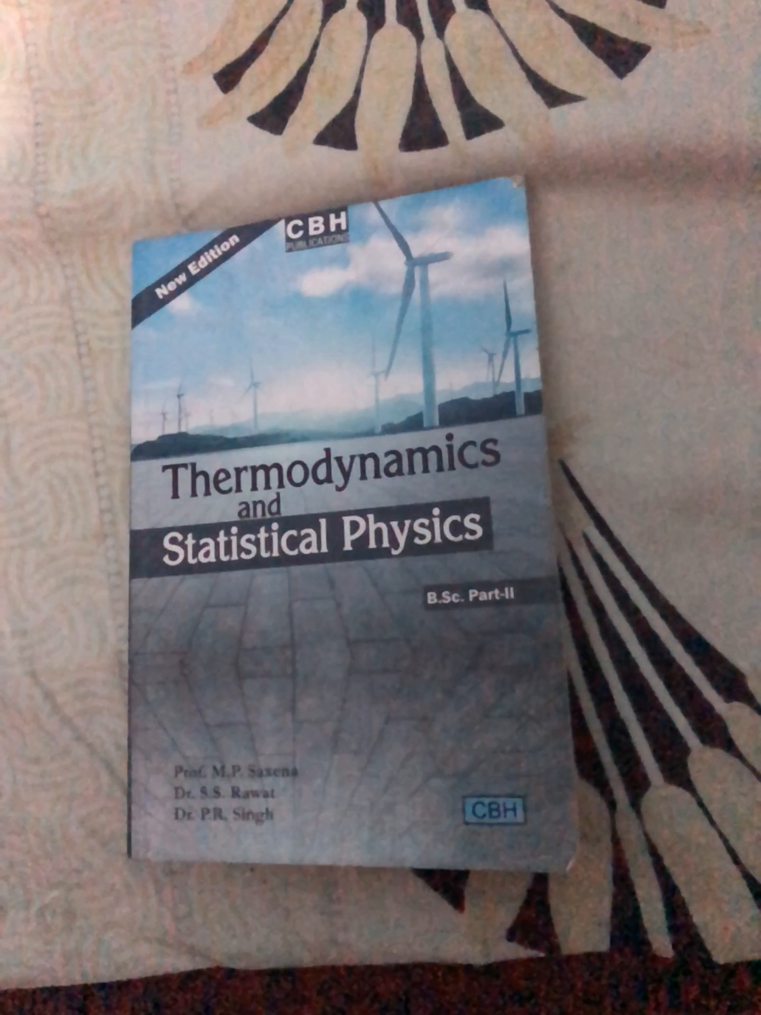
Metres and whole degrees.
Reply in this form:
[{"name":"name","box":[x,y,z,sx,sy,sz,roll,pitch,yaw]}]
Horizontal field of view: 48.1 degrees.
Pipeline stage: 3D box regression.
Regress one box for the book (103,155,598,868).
[{"name":"book","box":[-0.017,0.005,0.321,0.170,0.030,0.240,-6,83,15]}]
